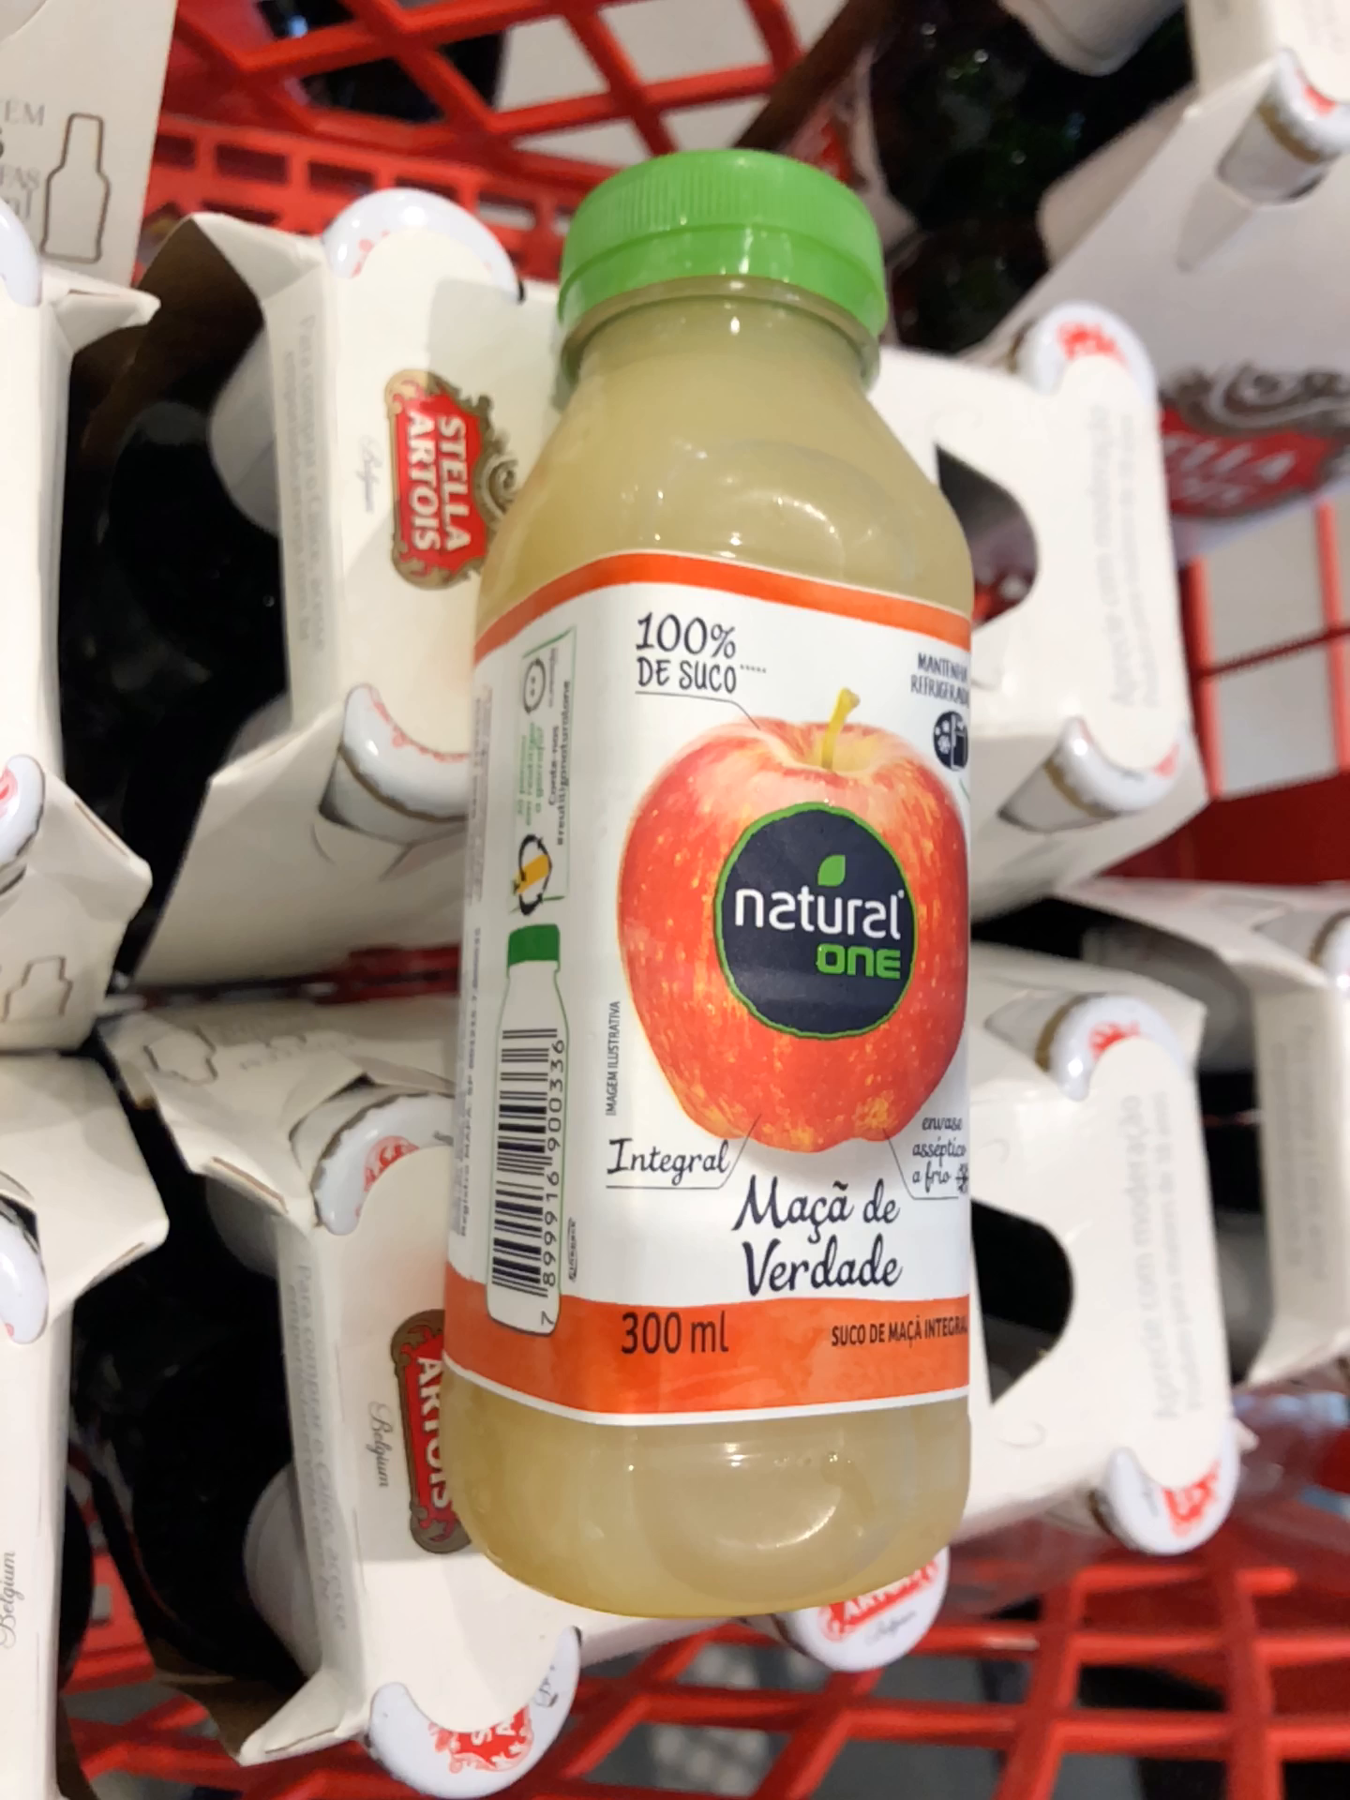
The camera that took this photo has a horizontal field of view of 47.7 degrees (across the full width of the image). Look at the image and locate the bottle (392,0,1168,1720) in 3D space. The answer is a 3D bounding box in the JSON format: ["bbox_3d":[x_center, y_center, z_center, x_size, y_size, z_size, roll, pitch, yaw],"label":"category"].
[{"bbox_3d":[0.005,-0.019,0.172,0.060,0.060,0.180,2,81,-24],"label":"bottle"}]
